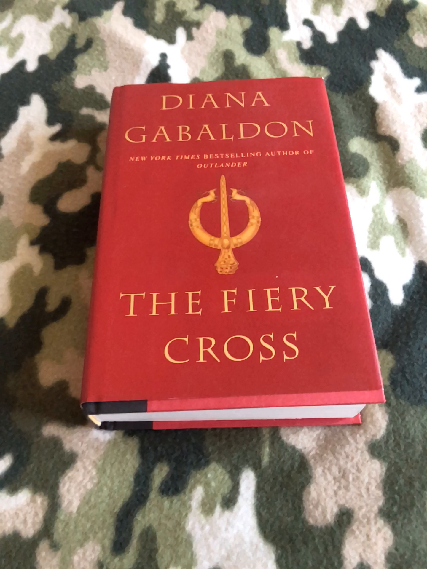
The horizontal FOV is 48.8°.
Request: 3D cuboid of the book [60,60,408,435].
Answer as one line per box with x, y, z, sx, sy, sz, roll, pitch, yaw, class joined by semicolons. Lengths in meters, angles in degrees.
0.006;-0.036;0.319;0.170;0.070;0.251;-1;63;-1;book
